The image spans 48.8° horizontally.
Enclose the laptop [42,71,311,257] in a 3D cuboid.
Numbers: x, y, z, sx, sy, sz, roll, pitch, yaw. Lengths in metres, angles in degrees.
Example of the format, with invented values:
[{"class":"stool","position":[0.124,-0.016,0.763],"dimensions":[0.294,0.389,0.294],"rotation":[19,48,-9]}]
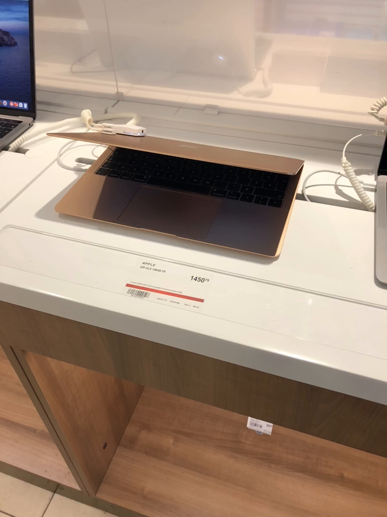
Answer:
[{"class":"laptop","position":[-0.010,-0.147,0.574],"dimensions":[0.298,0.104,0.226],"rotation":[13,44,17]}]
